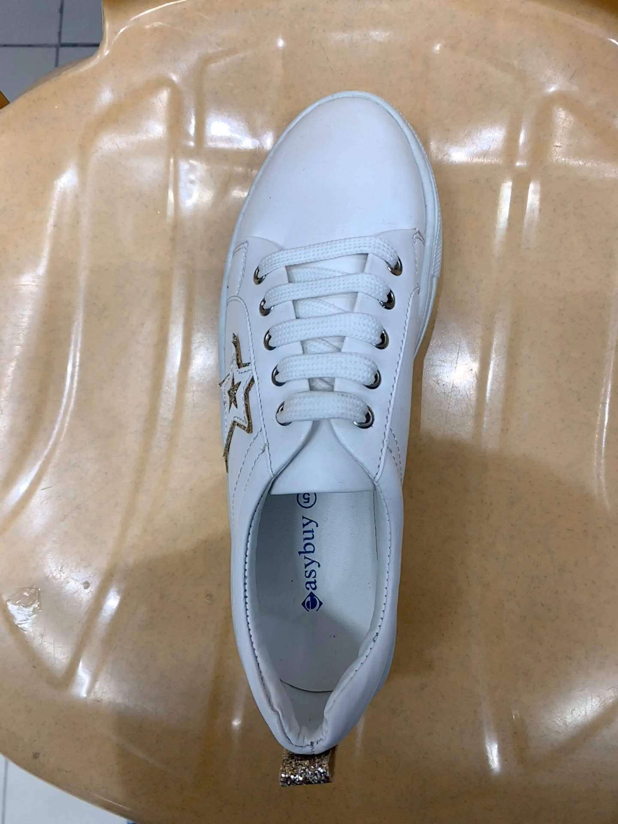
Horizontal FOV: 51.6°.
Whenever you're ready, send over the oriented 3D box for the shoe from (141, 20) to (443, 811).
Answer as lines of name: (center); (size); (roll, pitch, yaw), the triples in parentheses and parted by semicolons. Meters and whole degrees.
shoe: (-0.001, 0.001, 0.245); (0.090, 0.090, 0.240); (2, 91, 9)
